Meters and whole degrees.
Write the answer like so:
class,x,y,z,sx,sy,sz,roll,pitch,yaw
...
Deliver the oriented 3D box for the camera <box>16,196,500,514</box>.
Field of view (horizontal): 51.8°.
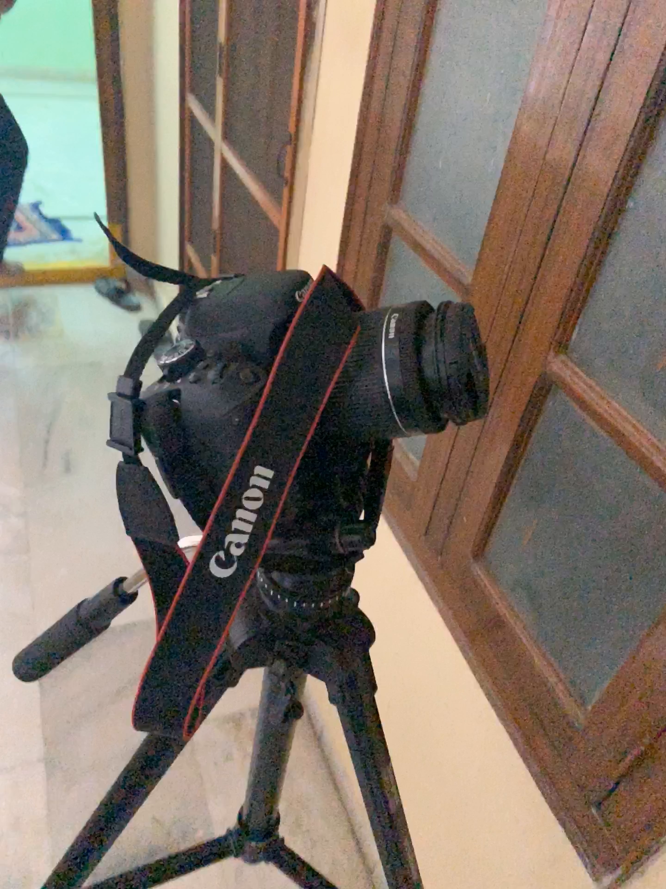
class,x,y,z,sx,sy,sz,roll,pitch,yaw
camera,-0.028,-0.049,0.396,0.225,0.100,0.142,-5,34,20
